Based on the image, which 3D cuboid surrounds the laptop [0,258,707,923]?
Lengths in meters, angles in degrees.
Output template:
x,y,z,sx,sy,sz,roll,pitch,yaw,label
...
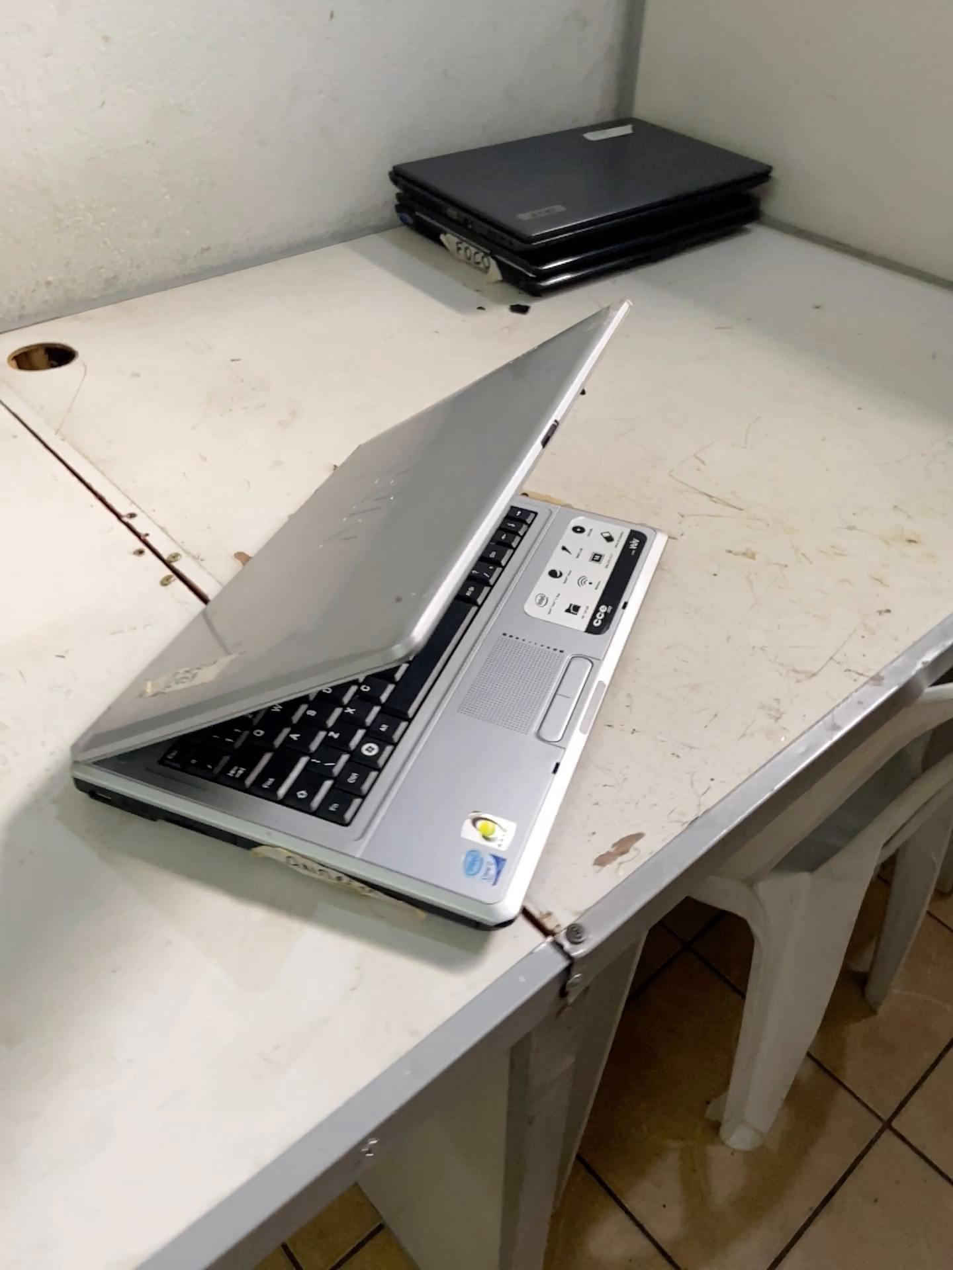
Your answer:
x,y,z,sx,sy,sz,roll,pitch,yaw,label
-0.036,-0.059,0.547,0.242,0.153,0.337,15,43,14,laptop
